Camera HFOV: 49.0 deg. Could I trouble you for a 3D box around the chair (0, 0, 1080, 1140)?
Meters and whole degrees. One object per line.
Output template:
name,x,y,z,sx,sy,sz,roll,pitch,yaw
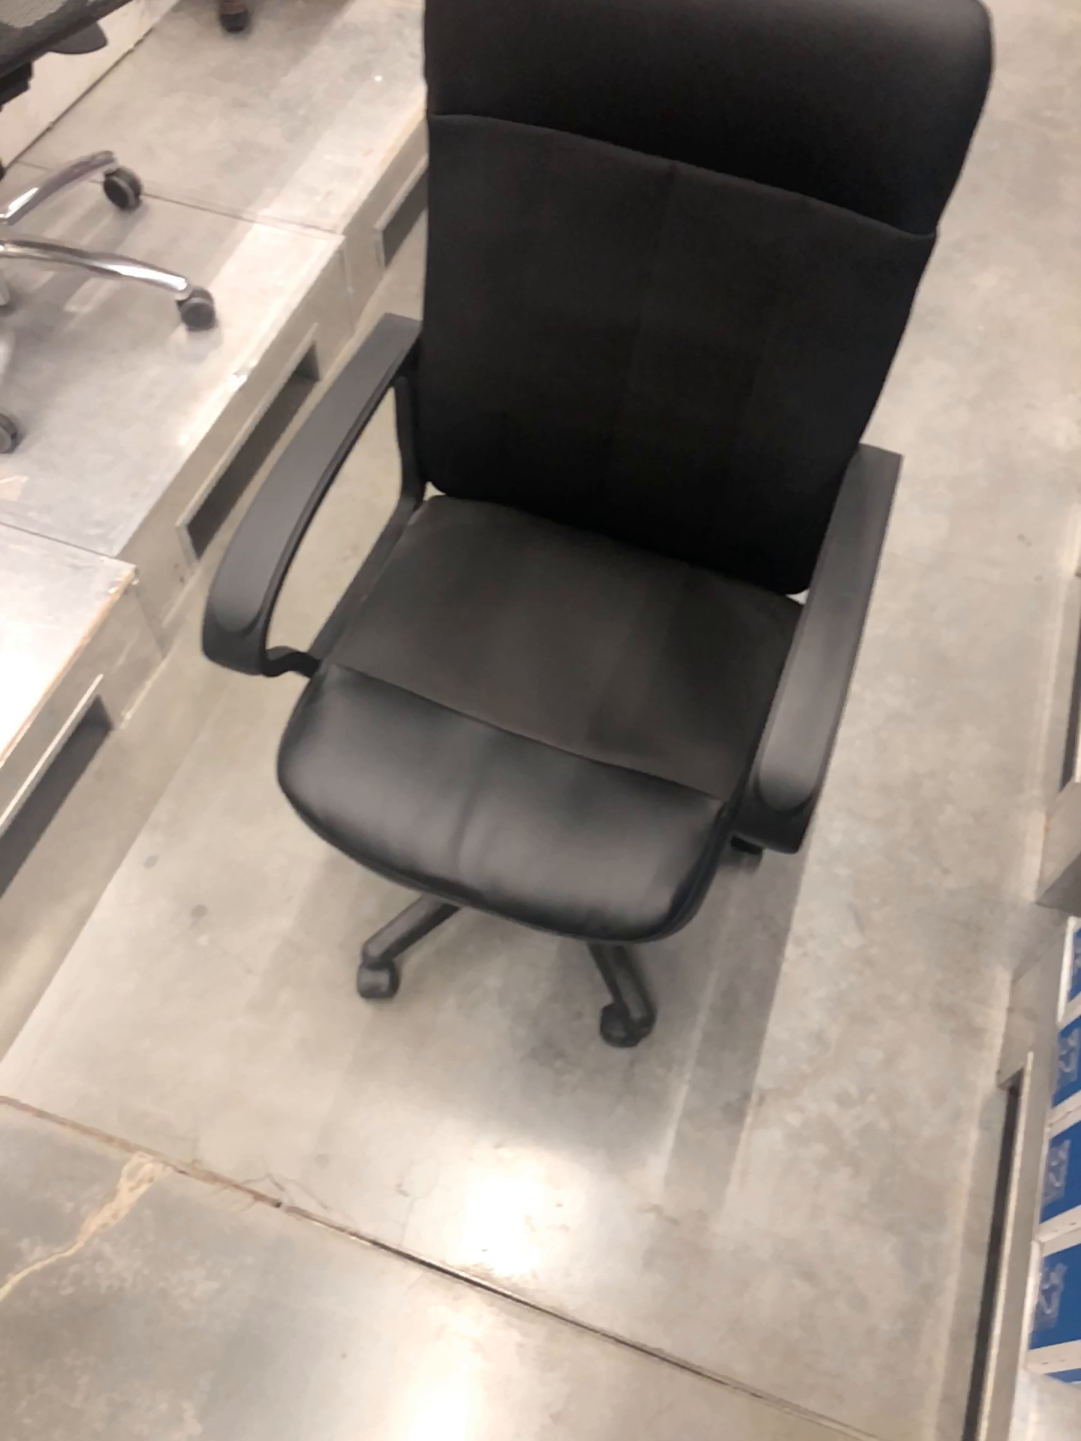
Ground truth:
chair,0.018,-0.109,1.260,0.650,1.125,0.633,17,59,9
